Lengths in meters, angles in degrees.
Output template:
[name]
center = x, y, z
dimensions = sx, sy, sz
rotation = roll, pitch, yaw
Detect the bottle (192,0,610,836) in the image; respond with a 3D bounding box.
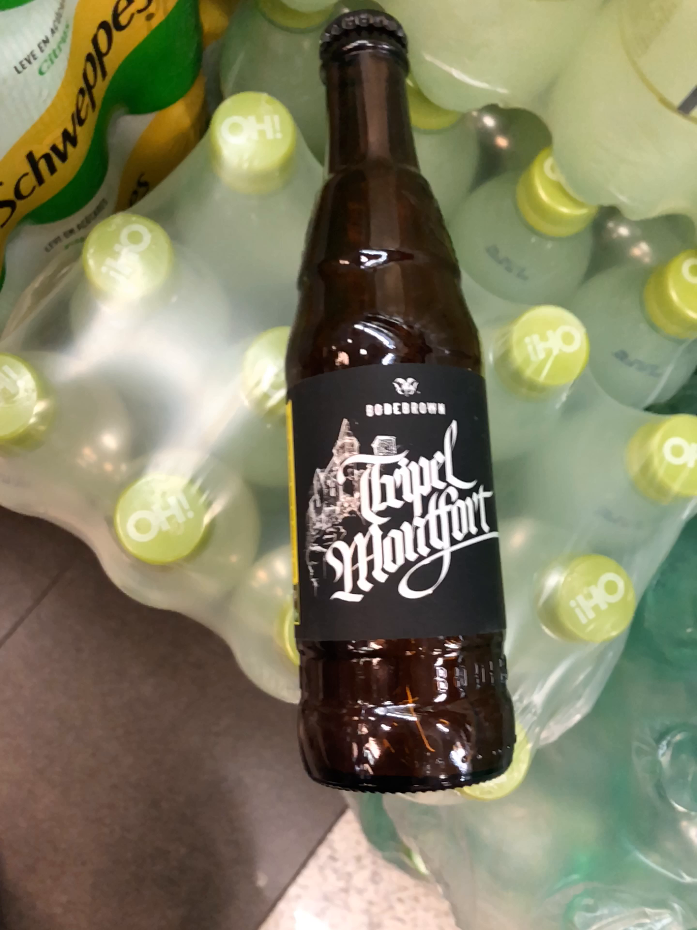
[bottle]
center = 0.004, -0.047, 0.213
dimensions = 0.070, 0.070, 0.250
rotation = -5, 82, -10
